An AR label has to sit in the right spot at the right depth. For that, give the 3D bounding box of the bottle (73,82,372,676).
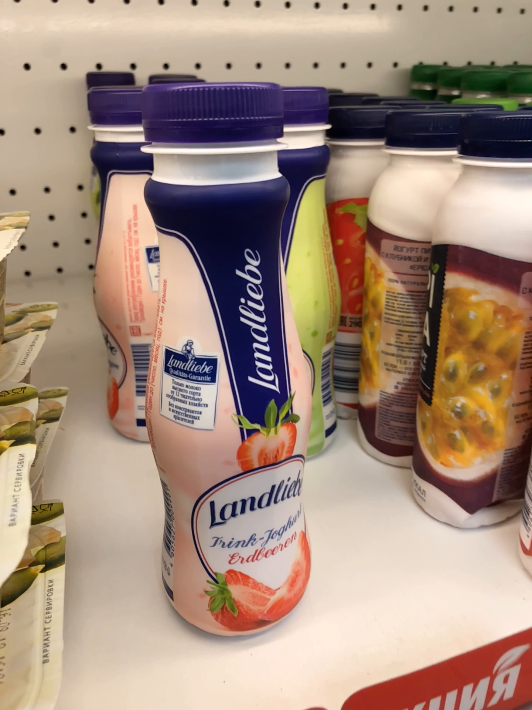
[{"bbox_3d":[-0.016,0.008,0.212,0.070,0.189,0.070,-1,24,0],"label":"bottle"}]
